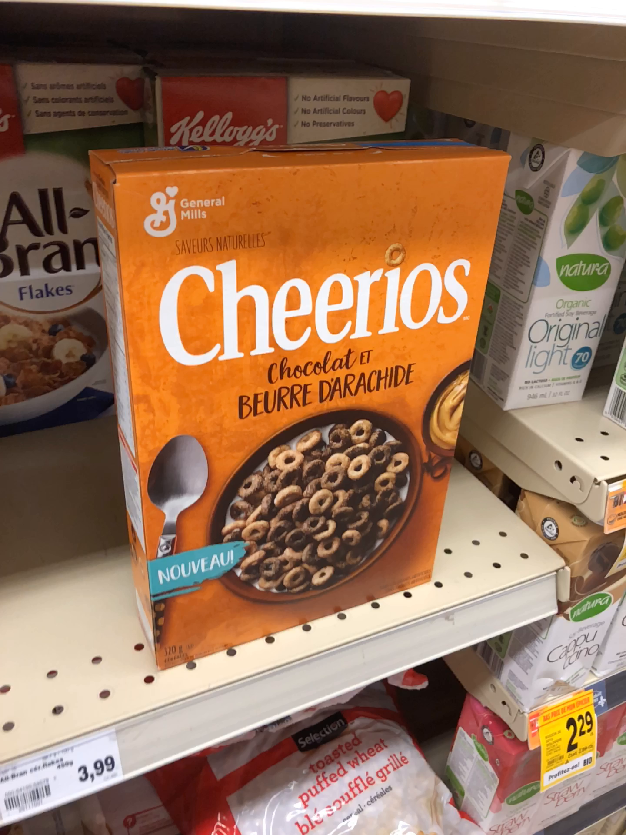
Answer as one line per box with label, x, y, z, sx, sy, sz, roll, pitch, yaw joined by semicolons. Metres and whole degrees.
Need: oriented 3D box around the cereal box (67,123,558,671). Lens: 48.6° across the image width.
cereal box;-0.001;-0.007;0.368;0.210;0.268;0.050;-11;35;-23
